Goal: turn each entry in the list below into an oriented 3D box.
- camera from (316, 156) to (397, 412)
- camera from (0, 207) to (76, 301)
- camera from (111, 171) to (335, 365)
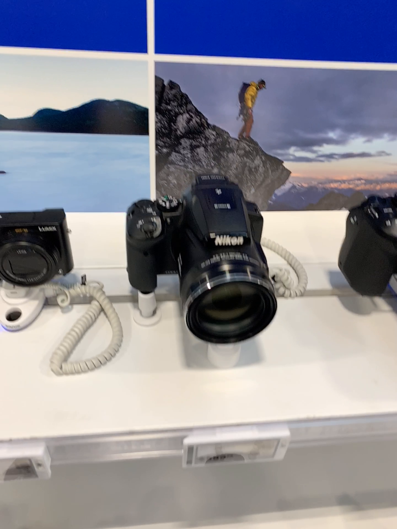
[{"bbox_3d":[0.237,-0.001,0.379,0.160,0.109,0.222,-3,40,-7],"label":"camera"},{"bbox_3d":[-0.181,-0.011,0.387,0.110,0.070,0.050,-2,39,-7],"label":"camera"},{"bbox_3d":[0.009,-0.005,0.376,0.160,0.099,0.151,-2,39,-7],"label":"camera"}]
